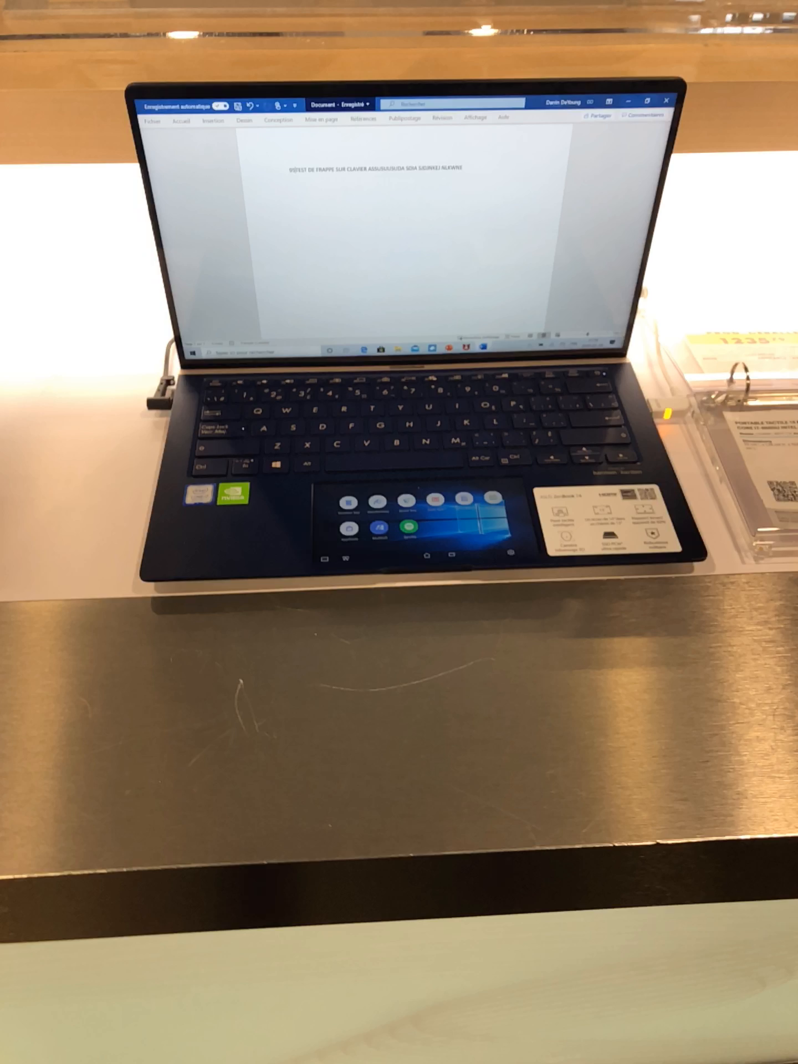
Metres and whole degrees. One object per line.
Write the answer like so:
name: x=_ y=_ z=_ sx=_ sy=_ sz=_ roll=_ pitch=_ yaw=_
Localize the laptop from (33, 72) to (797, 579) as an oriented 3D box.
laptop: x=0.010 y=-0.117 z=0.490 sx=0.317 sy=0.193 sz=0.200 roll=-2 pitch=46 yaw=-2
